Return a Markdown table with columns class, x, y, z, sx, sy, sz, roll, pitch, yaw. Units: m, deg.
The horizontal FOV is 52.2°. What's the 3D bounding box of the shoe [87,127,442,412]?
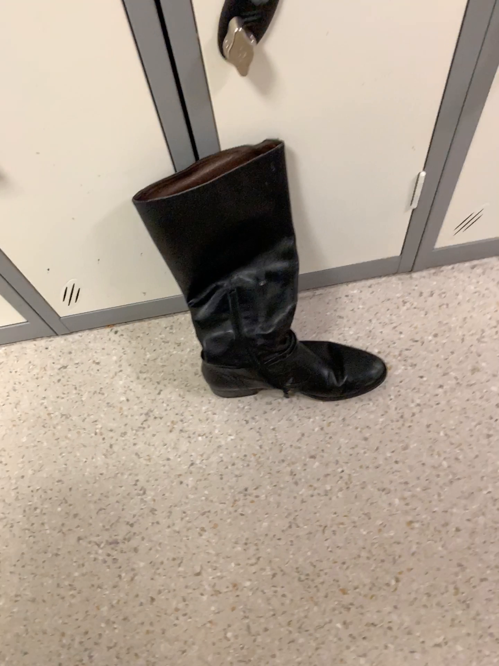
| class | x | y | z | sx | sy | sz | roll | pitch | yaw |
| --- | --- | --- | --- | --- | --- | --- | --- | --- | --- |
| shoe | 0.027 | -0.046 | 0.633 | 0.313 | 0.331 | 0.168 | -3 | 60 | 6 |
